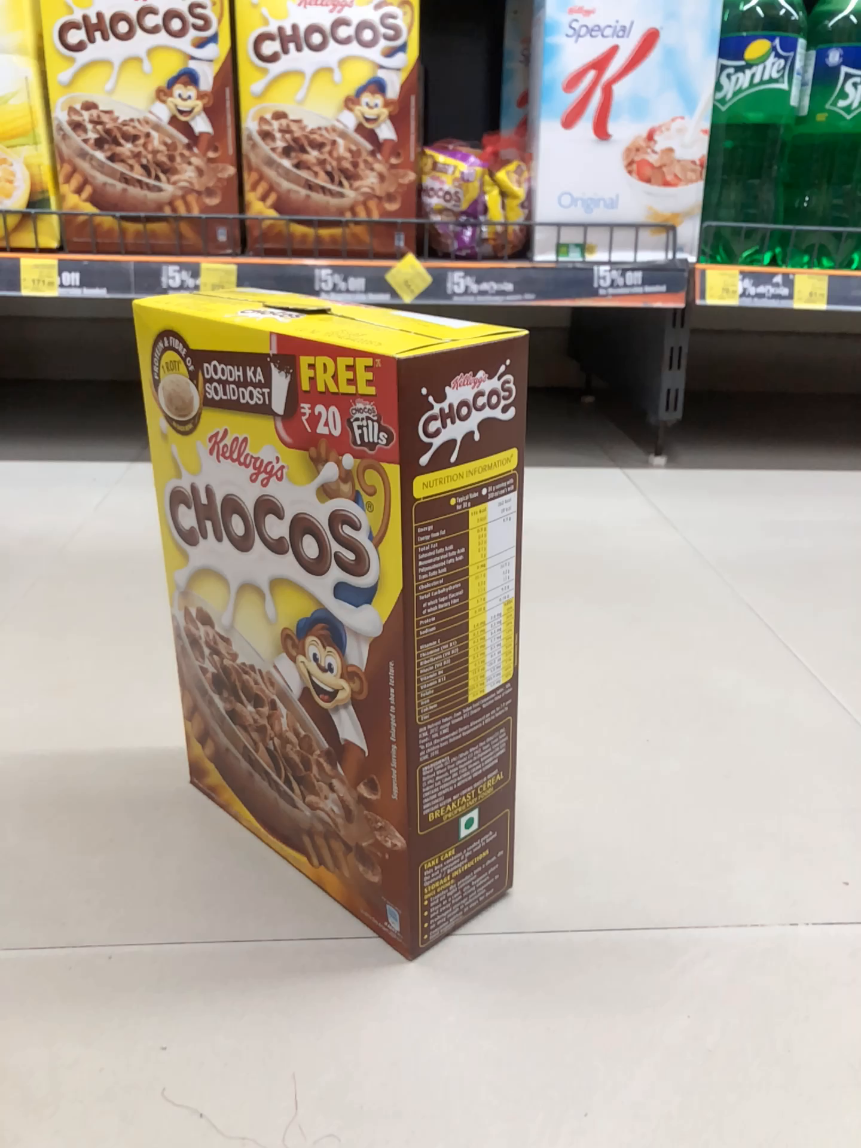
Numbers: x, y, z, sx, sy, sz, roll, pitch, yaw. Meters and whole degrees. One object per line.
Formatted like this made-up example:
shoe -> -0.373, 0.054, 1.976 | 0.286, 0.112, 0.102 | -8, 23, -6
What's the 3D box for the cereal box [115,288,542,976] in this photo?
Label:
cereal box -> -0.049, 0.014, 0.437 | 0.070, 0.259, 0.190 | -21, 31, -39
